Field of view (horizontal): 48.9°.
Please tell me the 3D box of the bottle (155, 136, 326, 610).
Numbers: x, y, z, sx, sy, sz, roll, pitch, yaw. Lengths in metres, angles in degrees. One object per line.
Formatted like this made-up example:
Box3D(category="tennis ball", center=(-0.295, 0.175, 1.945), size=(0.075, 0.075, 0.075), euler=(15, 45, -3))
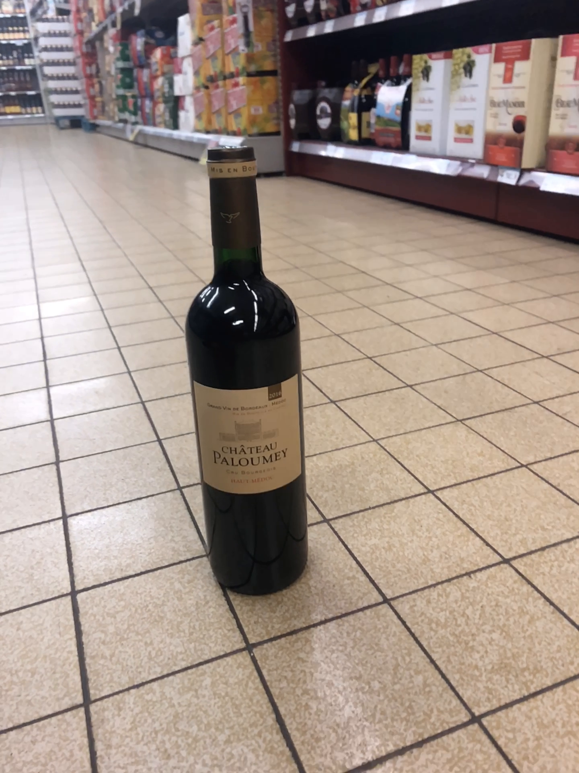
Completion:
Box3D(category="bottle", center=(-0.026, -0.004, 0.415), size=(0.080, 0.288, 0.090), euler=(-5, 23, -6))
